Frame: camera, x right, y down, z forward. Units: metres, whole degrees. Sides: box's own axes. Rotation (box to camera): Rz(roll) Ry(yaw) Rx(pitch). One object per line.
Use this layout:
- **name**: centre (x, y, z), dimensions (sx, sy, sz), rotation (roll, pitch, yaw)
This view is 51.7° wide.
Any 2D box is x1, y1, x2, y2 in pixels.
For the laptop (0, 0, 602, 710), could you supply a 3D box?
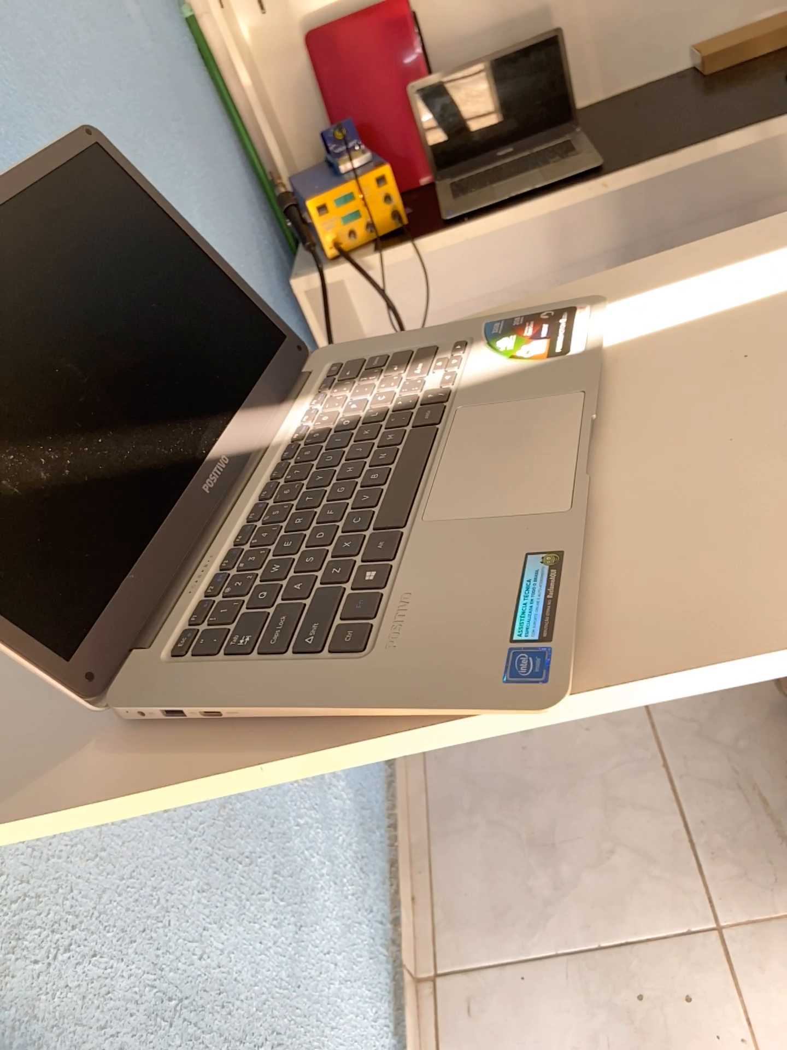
- **laptop**: centre (-0.076, -0.099, 0.422), dimensions (0.311, 0.189, 0.334), rotation (-6, 38, 22)
